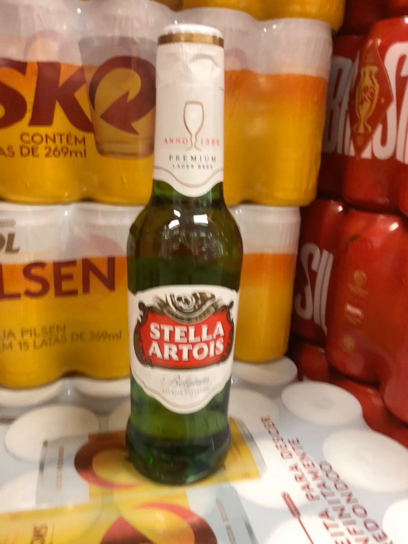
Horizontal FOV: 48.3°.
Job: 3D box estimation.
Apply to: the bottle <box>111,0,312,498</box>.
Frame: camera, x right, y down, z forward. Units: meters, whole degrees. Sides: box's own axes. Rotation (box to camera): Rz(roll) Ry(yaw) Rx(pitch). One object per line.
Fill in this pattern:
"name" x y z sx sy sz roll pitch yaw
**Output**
"bottle" -0.006 -0.006 0.223 0.070 0.219 0.060 -2 19 -15
